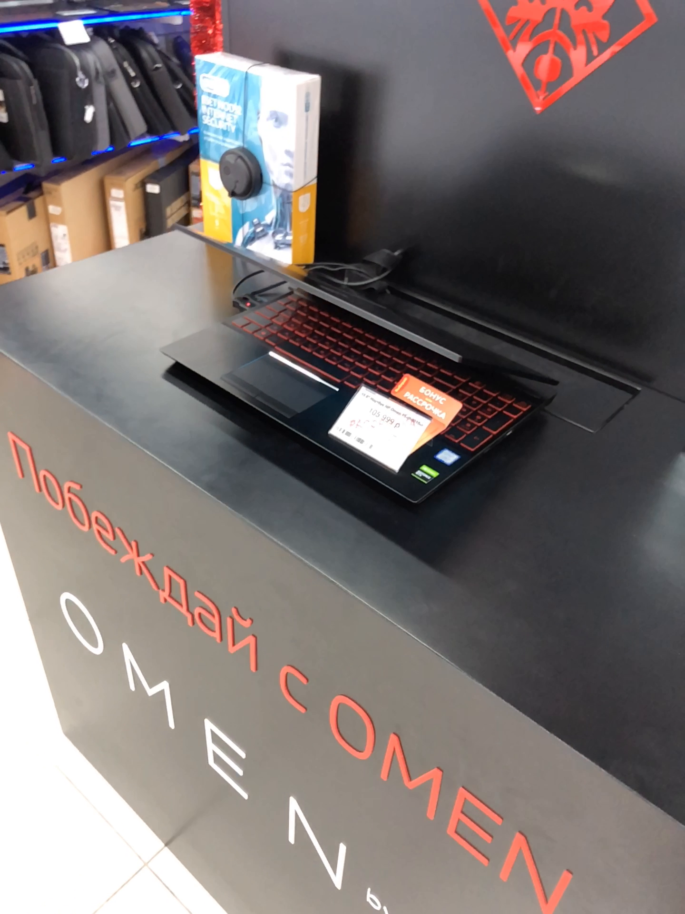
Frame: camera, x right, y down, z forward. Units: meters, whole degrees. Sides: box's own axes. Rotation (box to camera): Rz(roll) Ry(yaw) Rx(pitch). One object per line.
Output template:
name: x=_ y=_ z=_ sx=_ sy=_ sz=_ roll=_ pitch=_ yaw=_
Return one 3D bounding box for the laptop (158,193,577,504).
laptop: x=0.012 y=-0.137 z=0.766 sx=0.351 sy=0.121 sz=0.231 roll=31 pitch=47 yaw=34
